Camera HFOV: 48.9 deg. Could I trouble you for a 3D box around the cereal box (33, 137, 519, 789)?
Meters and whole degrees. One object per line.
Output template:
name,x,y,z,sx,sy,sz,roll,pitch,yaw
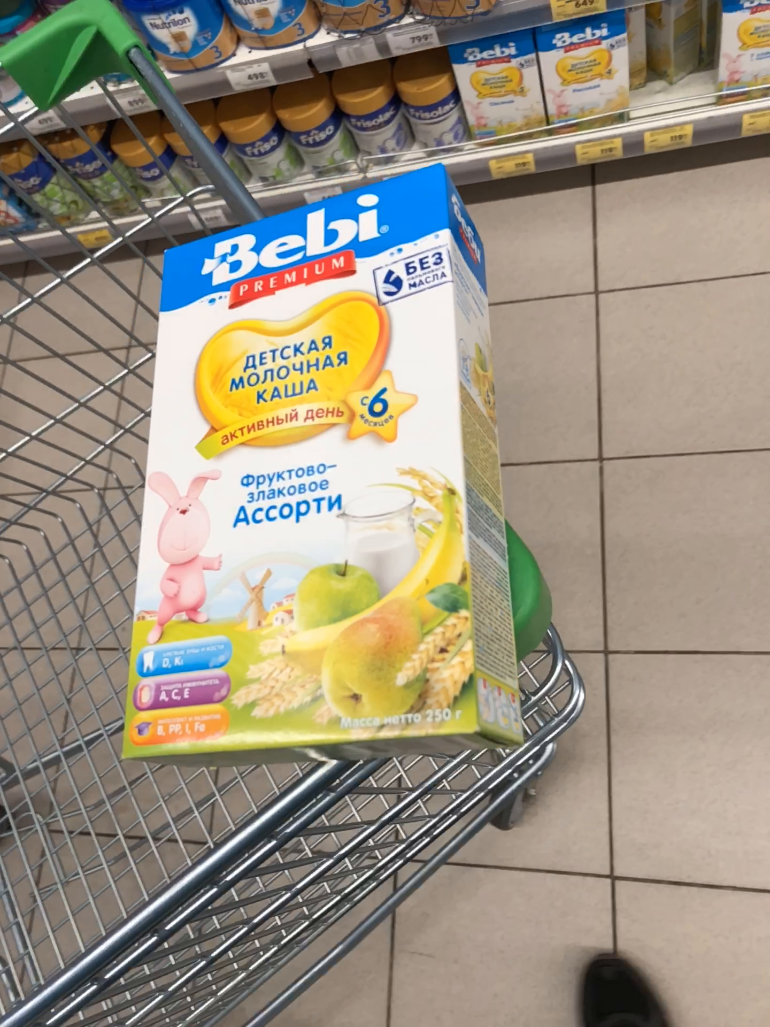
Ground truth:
cereal box,-0.040,-0.014,0.310,0.150,0.050,0.210,-10,67,22
